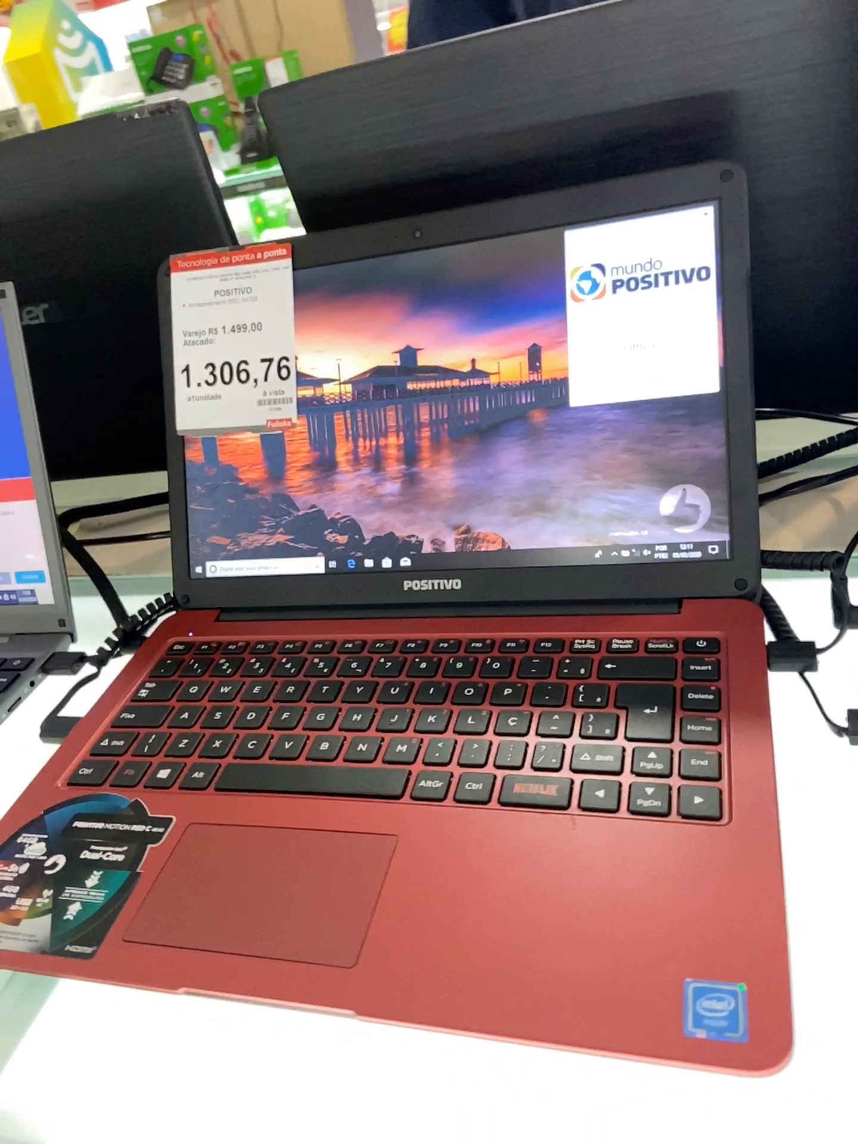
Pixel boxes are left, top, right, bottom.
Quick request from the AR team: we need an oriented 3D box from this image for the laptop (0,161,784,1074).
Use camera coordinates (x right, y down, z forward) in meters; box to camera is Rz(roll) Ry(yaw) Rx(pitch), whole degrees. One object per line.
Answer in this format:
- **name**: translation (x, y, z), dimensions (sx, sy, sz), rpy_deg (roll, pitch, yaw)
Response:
- **laptop**: translation (-0.031, -0.023, 0.379), dimensions (0.320, 0.167, 0.335), rpy_deg (-2, 34, 20)
